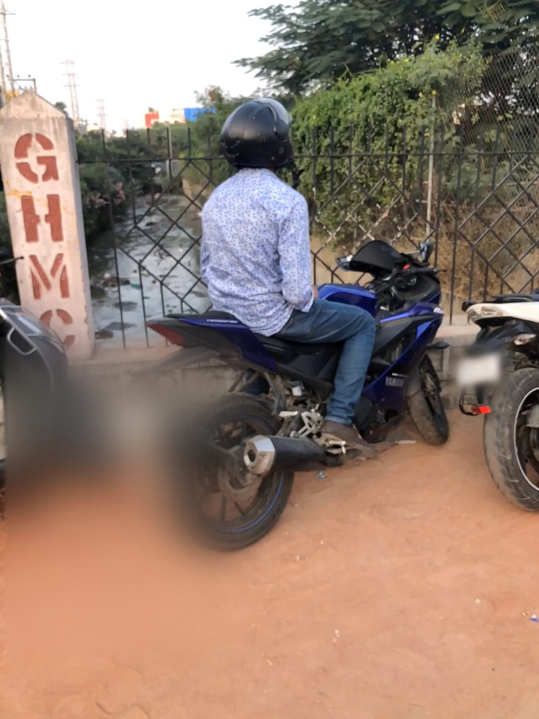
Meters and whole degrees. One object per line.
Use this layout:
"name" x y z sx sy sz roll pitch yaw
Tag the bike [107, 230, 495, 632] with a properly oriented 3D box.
"bike" 0.306 0.061 2.761 0.731 0.996 1.951 12 24 37
